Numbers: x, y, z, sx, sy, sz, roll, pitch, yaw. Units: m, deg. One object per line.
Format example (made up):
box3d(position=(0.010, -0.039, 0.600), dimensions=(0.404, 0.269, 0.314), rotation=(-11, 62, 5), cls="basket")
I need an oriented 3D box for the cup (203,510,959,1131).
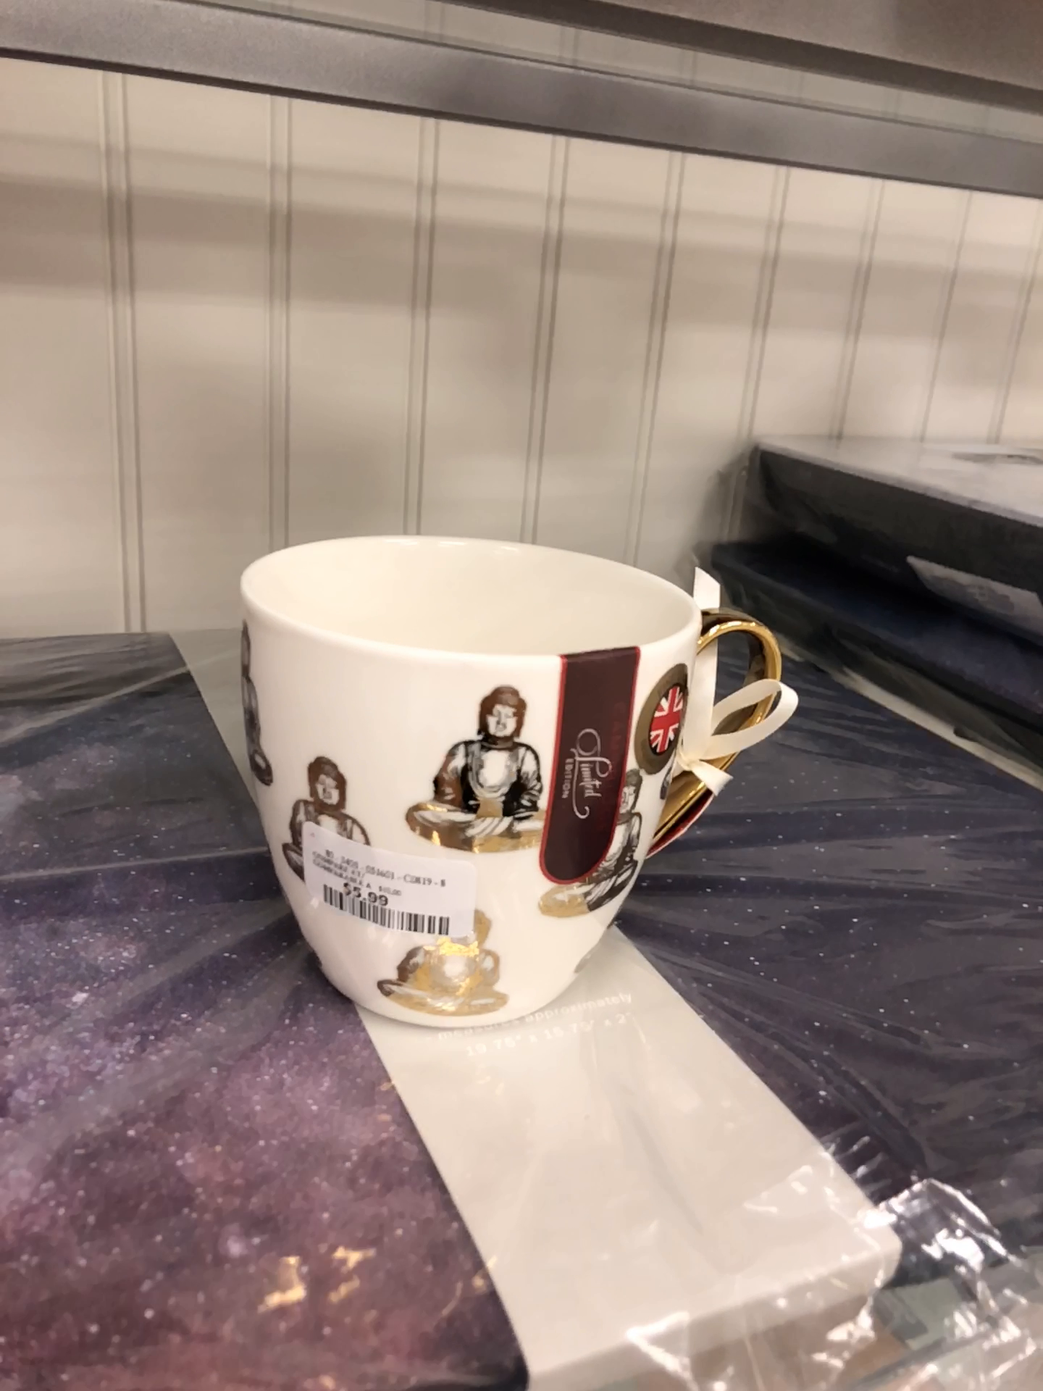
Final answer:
box3d(position=(0.007, 0.014, 0.273), dimensions=(0.137, 0.089, 0.100), rotation=(-7, 24, -29), cls="cup")
